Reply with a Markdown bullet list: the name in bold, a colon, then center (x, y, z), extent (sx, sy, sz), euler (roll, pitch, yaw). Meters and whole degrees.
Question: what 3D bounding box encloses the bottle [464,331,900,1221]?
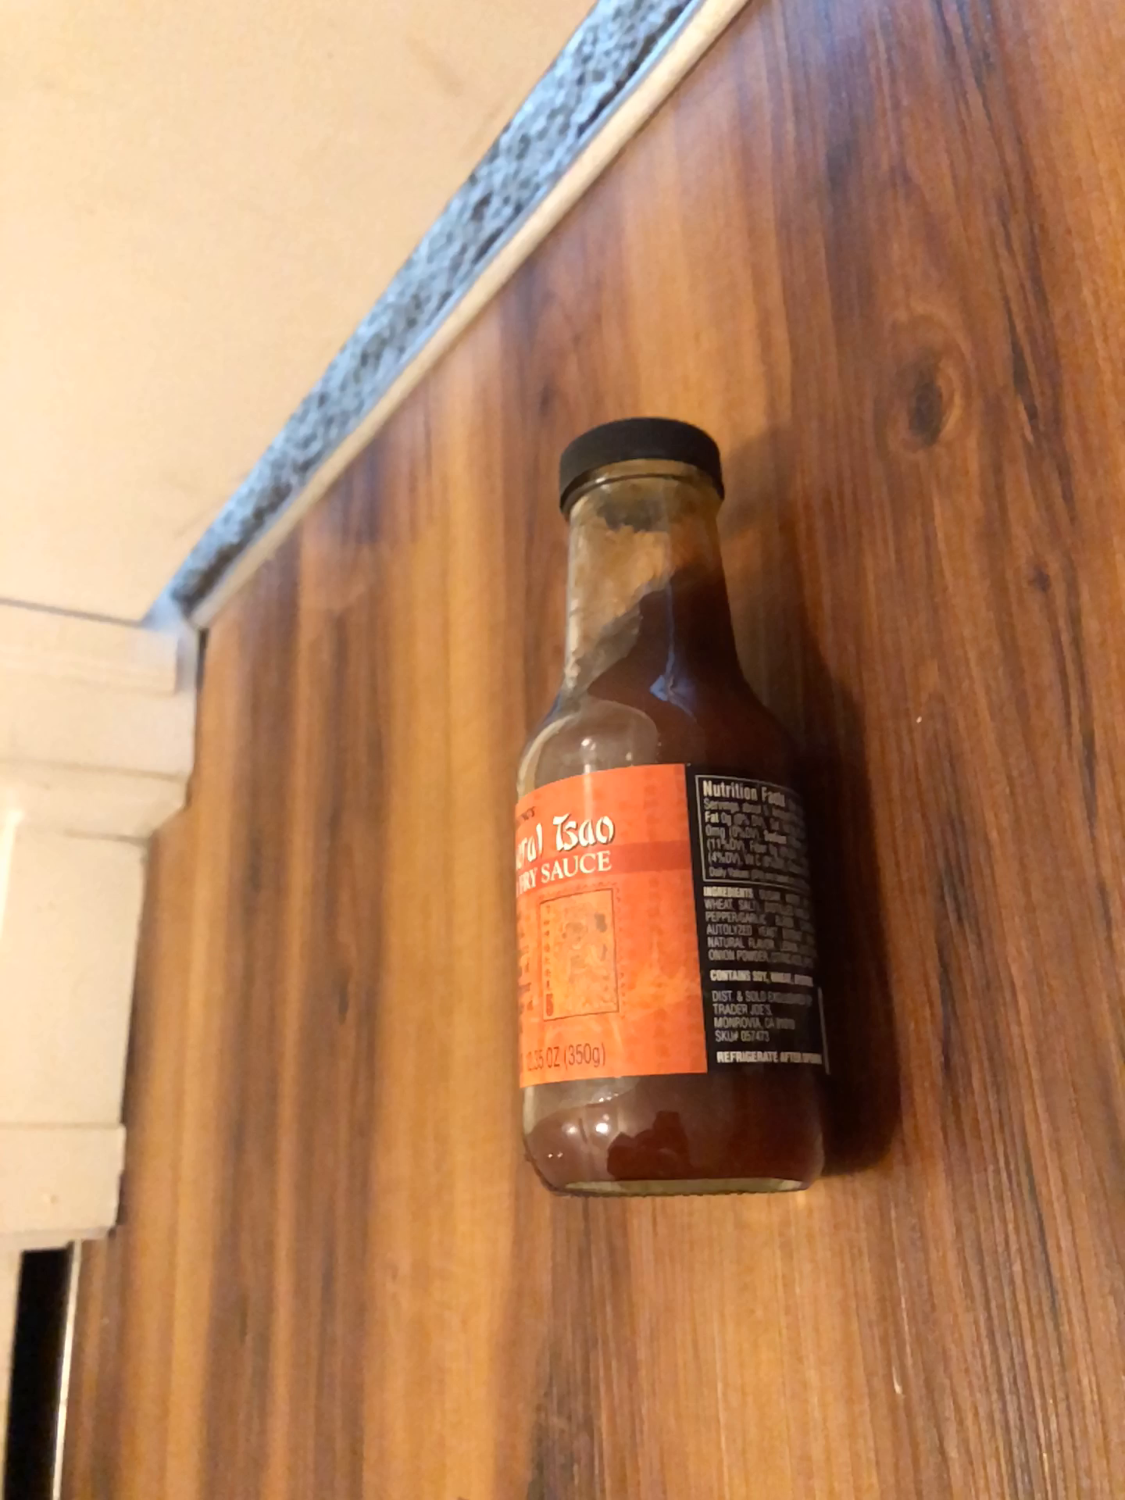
- **bottle**: center (0.020, 0.009, 0.283), extent (0.069, 0.060, 0.180), euler (-33, 53, 57)
